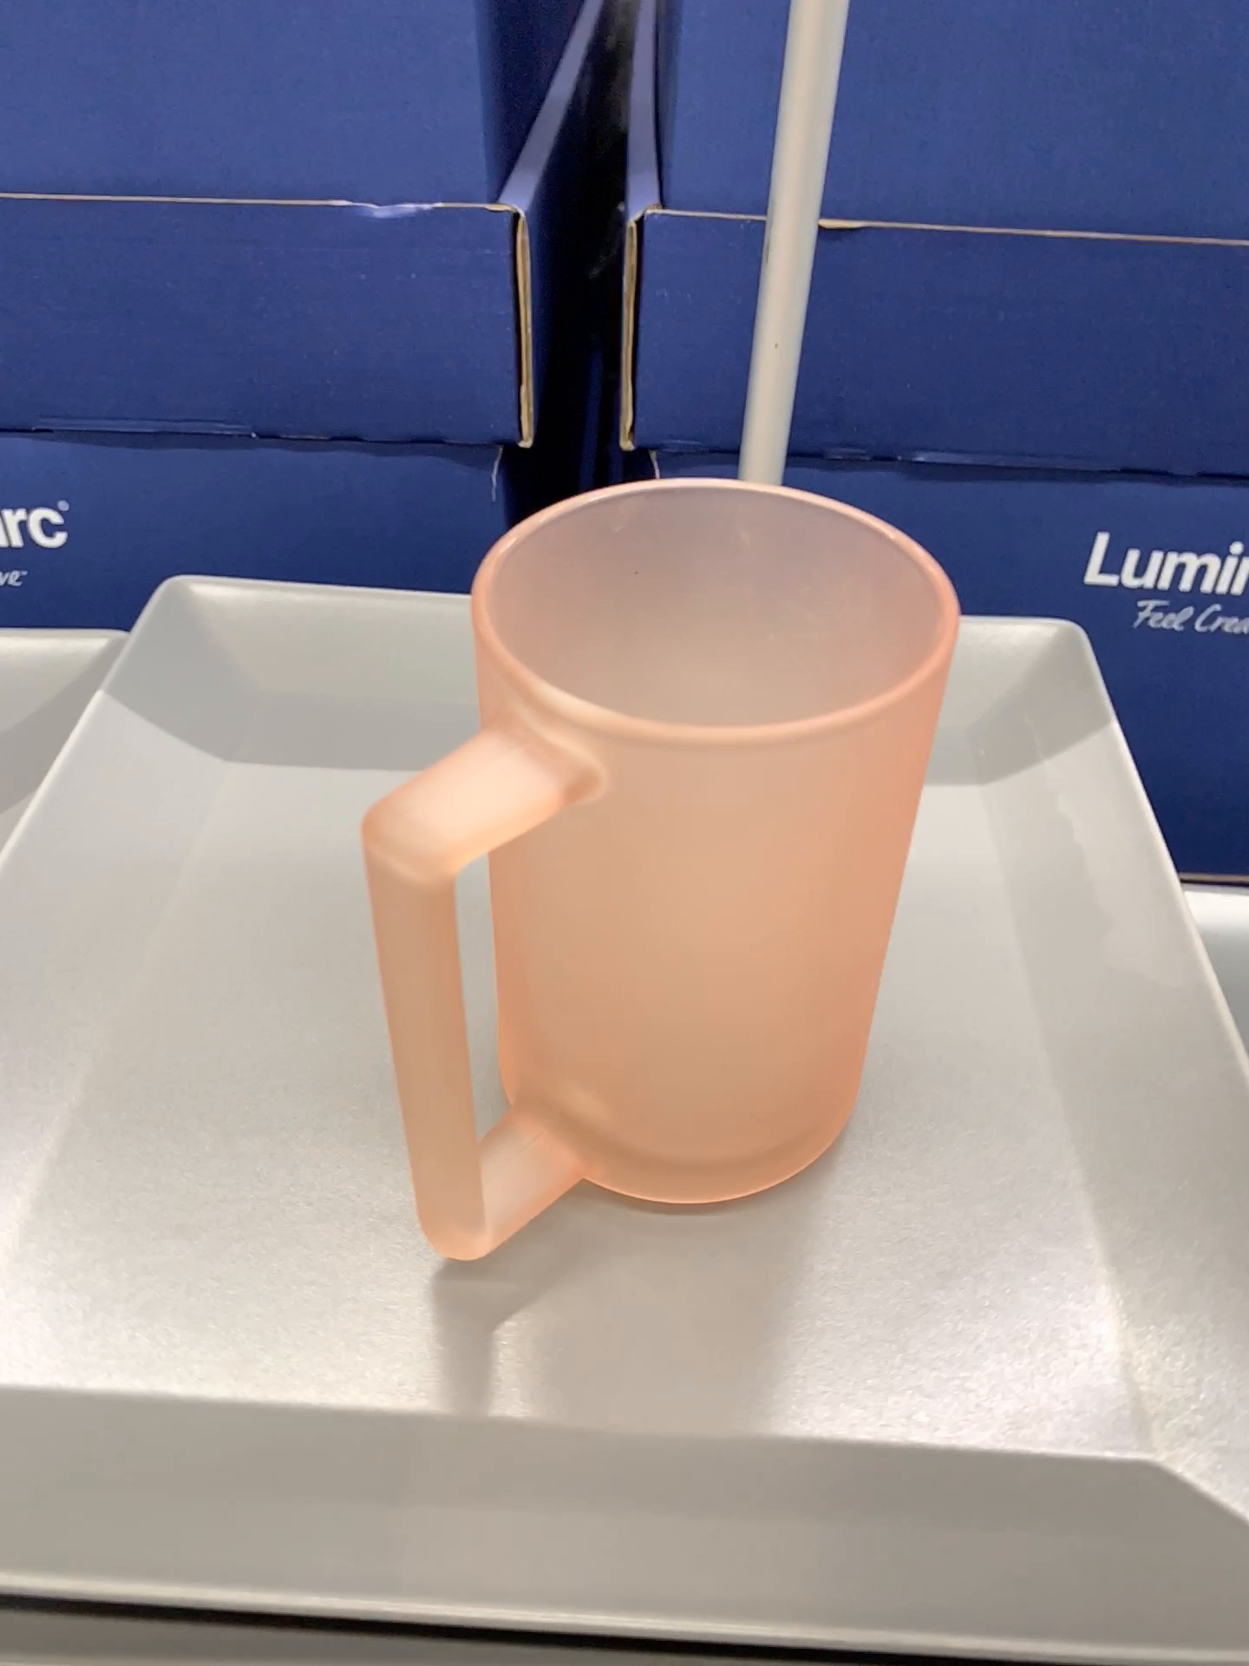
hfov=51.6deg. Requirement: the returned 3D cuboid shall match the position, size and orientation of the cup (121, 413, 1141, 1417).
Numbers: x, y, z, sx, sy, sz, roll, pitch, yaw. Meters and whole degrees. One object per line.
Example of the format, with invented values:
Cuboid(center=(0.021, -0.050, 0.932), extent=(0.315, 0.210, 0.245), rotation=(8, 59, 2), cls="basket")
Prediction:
Cuboid(center=(0.002, 0.002, 0.221), extent=(0.120, 0.095, 0.095), rotation=(-30, 48, -33), cls="cup")
